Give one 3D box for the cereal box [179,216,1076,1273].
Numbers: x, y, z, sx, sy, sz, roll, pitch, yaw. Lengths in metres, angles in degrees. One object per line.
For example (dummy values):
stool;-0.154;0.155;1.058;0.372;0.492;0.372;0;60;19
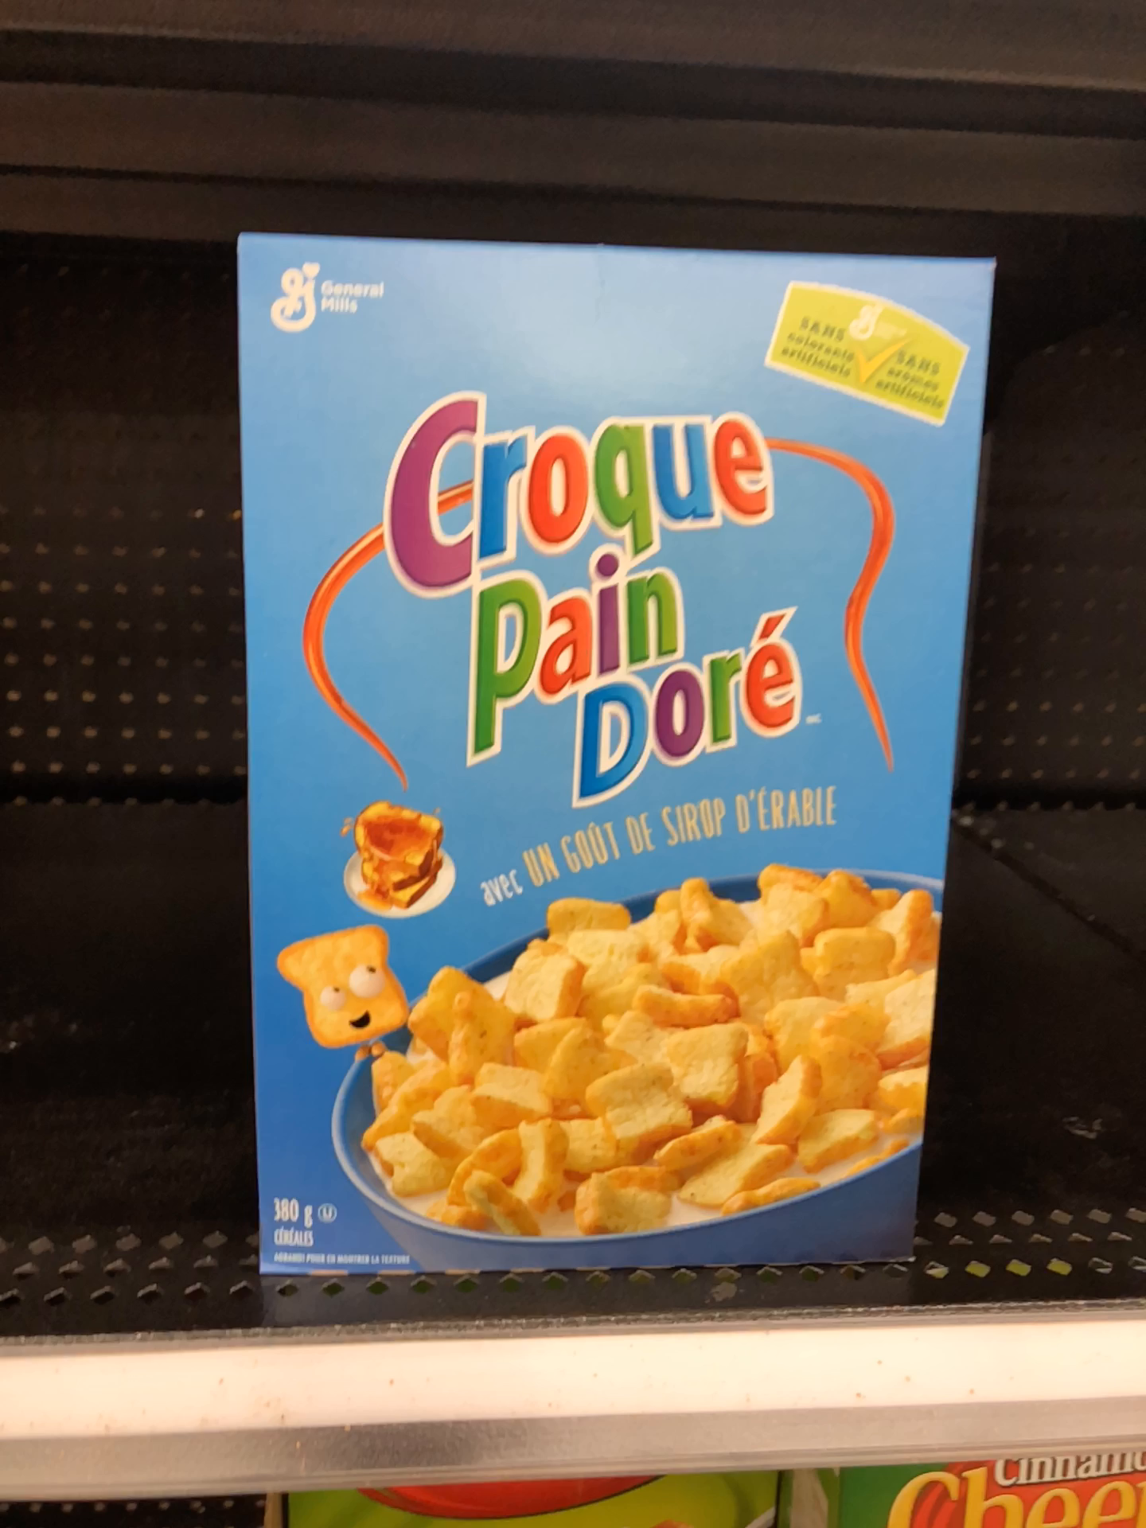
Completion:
cereal box;0.010;0.001;0.353;0.210;0.269;0.060;1;12;-4
